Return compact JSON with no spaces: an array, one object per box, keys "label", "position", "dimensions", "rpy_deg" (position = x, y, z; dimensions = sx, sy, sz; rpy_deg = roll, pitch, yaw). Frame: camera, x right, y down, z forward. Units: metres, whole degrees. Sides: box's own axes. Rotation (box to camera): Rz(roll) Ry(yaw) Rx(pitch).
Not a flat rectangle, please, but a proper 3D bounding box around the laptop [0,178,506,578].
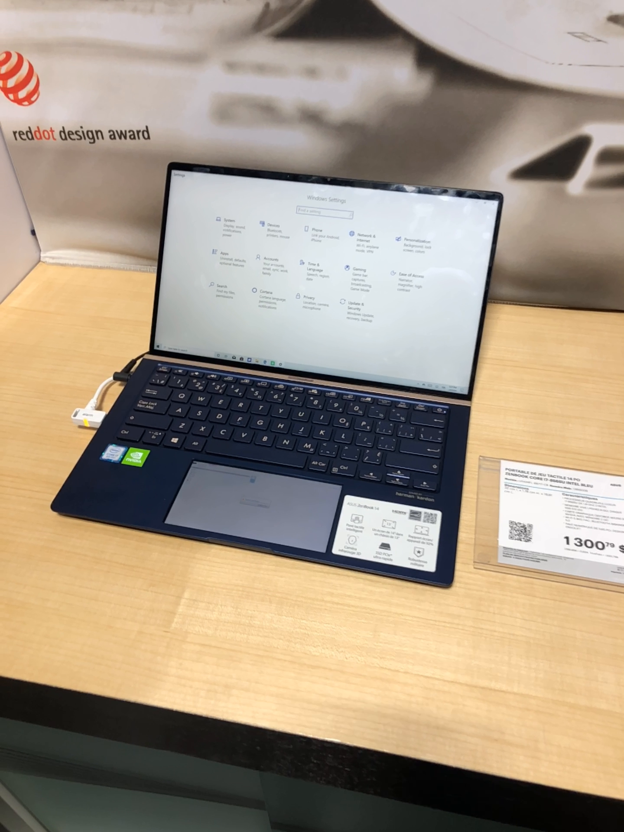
[{"label":"laptop","position":[-0.020,-0.059,0.613],"dimensions":[0.332,0.159,0.322],"rpy_deg":[8,43,10]}]
